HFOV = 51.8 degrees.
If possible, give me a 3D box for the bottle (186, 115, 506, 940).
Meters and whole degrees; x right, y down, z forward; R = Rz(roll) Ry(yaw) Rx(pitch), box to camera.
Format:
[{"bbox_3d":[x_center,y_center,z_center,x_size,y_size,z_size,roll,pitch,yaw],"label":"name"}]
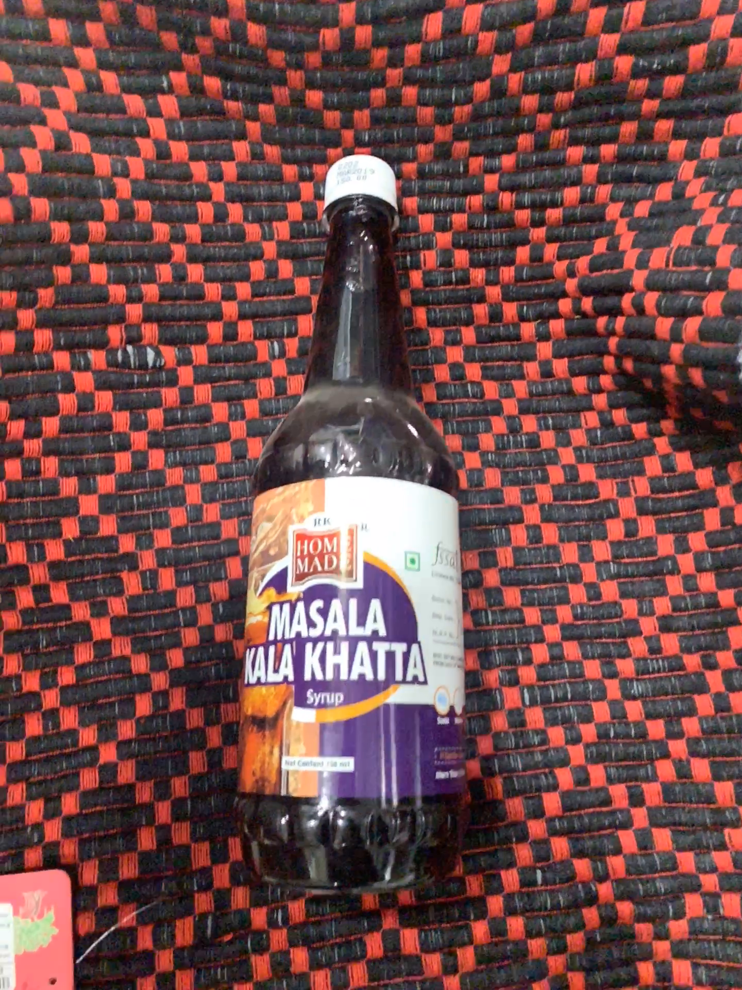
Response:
[{"bbox_3d":[-0.006,0.001,0.271,0.080,0.080,0.260,-2,71,3],"label":"bottle"}]
